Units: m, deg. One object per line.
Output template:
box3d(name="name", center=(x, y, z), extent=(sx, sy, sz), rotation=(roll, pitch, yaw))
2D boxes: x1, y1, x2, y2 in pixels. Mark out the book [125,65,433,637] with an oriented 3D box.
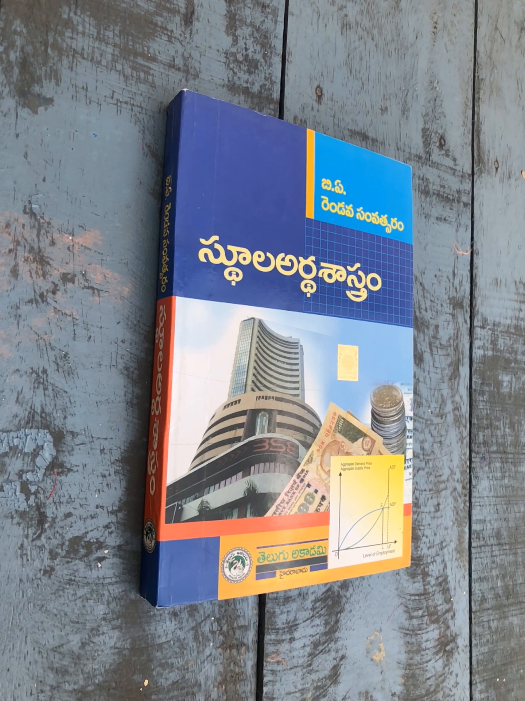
box3d(name="book", center=(0.019, 0.002, 0.314), extent=(0.171, 0.030, 0.250), rotation=(4, 87, -33))
